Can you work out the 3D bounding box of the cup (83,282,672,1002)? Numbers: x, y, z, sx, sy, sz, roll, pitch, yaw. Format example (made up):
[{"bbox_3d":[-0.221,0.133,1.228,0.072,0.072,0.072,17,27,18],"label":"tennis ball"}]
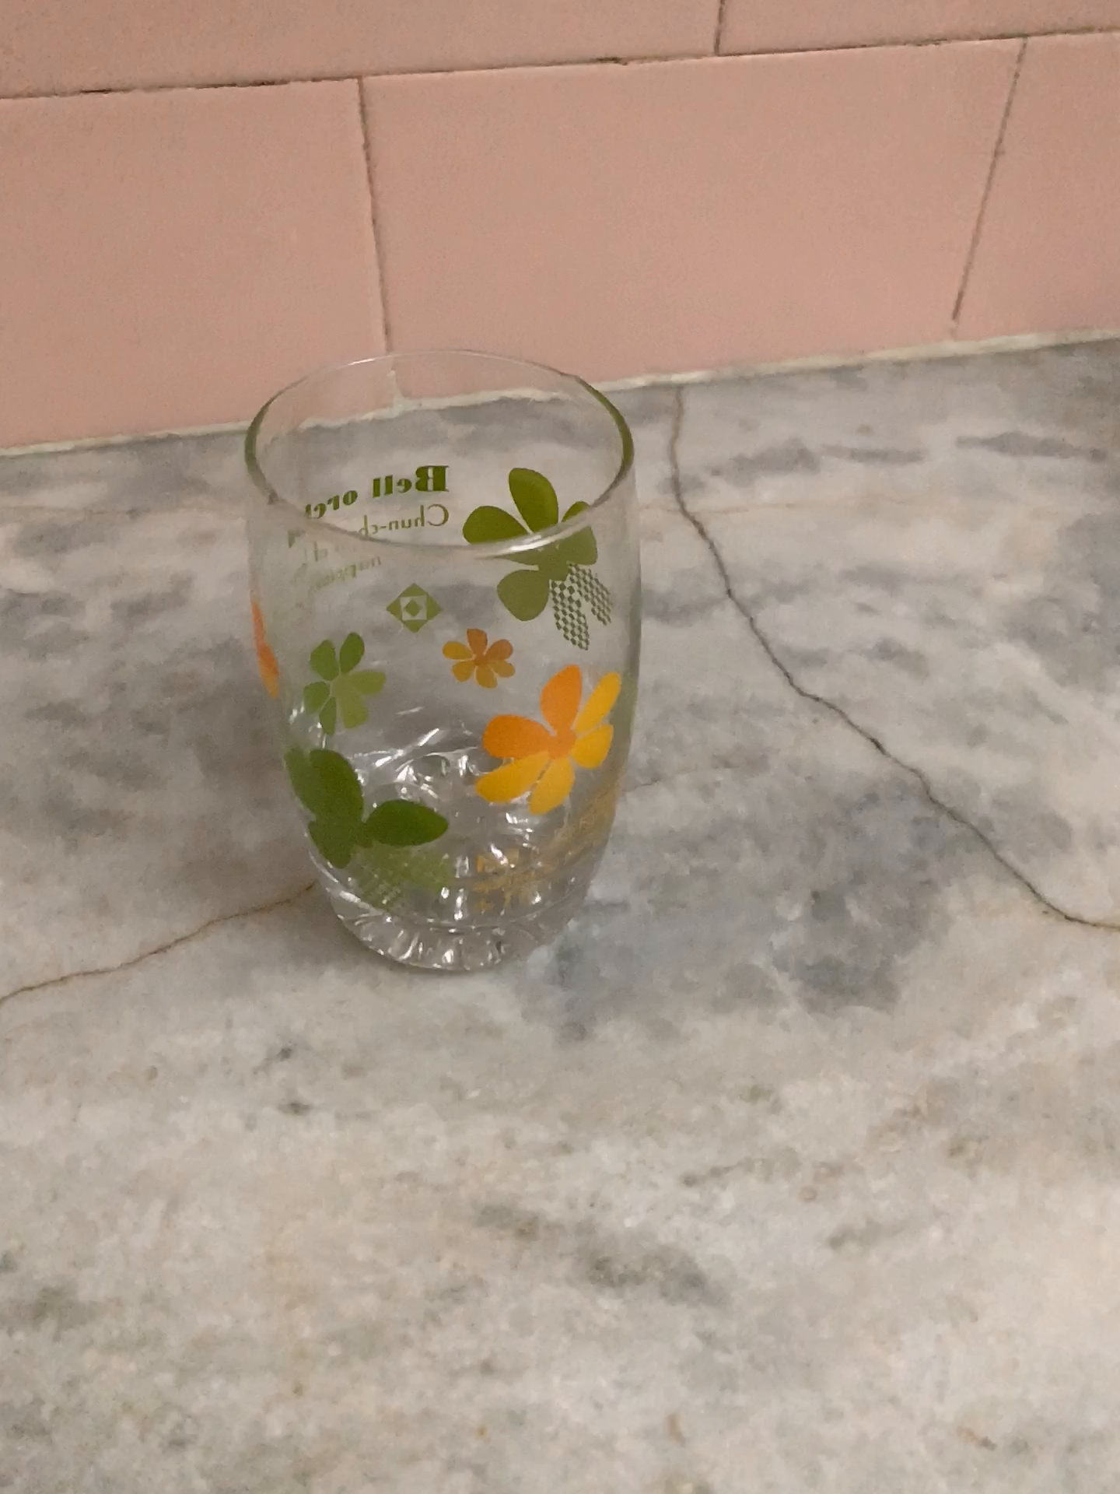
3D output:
[{"bbox_3d":[-0.023,-0.017,0.211,0.070,0.100,0.070,0,45,0],"label":"cup"}]
